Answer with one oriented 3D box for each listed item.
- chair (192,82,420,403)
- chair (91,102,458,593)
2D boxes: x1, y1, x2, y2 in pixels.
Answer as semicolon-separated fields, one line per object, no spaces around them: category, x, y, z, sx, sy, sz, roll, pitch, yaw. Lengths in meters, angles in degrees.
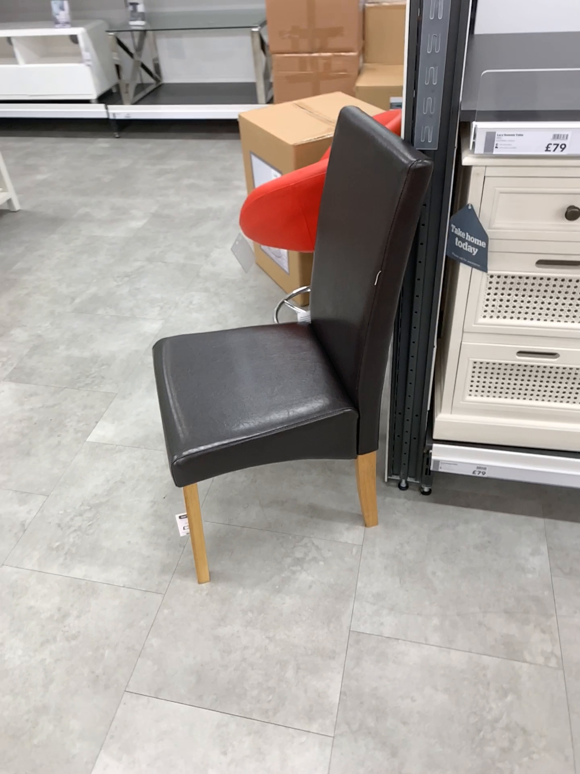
chair;0.077;-0.433;1.793;0.456;0.774;0.428;16;43;23
chair;-0.034;-0.054;1.321;0.556;0.912;0.429;-12;40;-9
